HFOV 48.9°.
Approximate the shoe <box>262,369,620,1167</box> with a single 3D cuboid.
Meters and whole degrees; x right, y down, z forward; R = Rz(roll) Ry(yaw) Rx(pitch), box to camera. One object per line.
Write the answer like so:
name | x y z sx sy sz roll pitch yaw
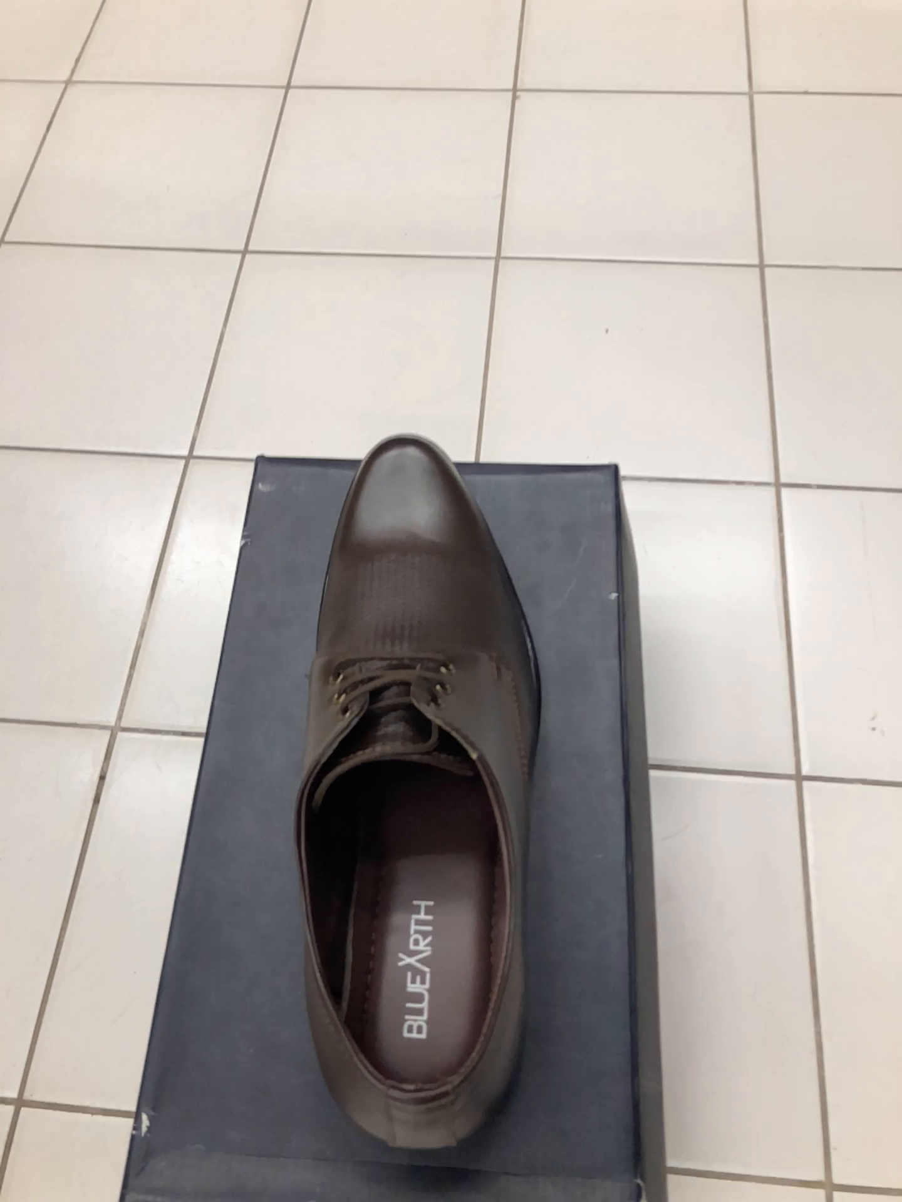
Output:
shoe | -0.007 0.058 0.403 0.104 0.109 0.291 -3 62 0
